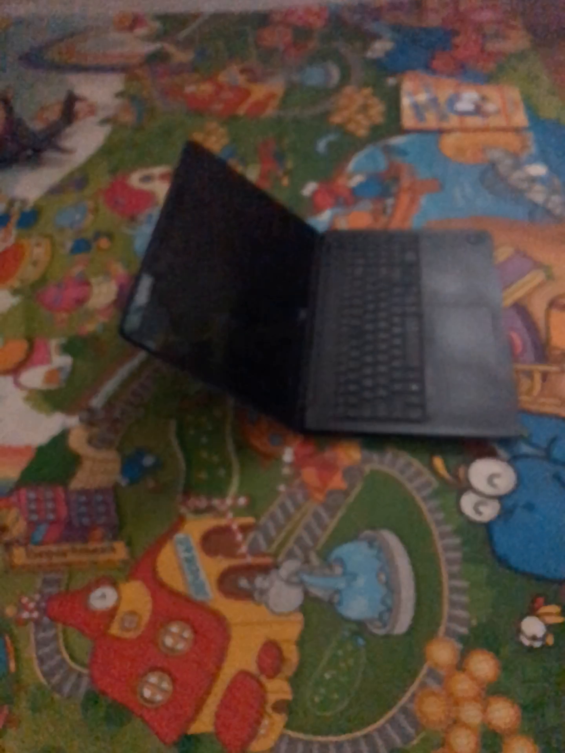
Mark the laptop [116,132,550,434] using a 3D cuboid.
[{"bbox_3d":[0.067,-0.132,0.798,0.428,0.158,0.363,2,51,7],"label":"laptop"}]
